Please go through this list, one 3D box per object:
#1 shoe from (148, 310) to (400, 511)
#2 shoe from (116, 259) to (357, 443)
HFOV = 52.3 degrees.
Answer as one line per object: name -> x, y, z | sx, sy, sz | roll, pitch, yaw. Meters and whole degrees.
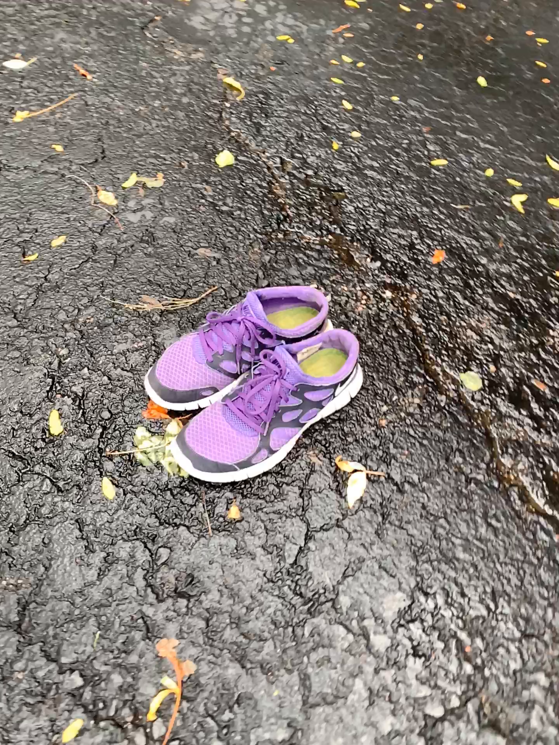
shoe -> -0.003, 0.049, 0.756 | 0.300, 0.100, 0.110 | -28, 65, -11
shoe -> -0.054, -0.033, 0.790 | 0.300, 0.090, 0.110 | -26, 65, -15
